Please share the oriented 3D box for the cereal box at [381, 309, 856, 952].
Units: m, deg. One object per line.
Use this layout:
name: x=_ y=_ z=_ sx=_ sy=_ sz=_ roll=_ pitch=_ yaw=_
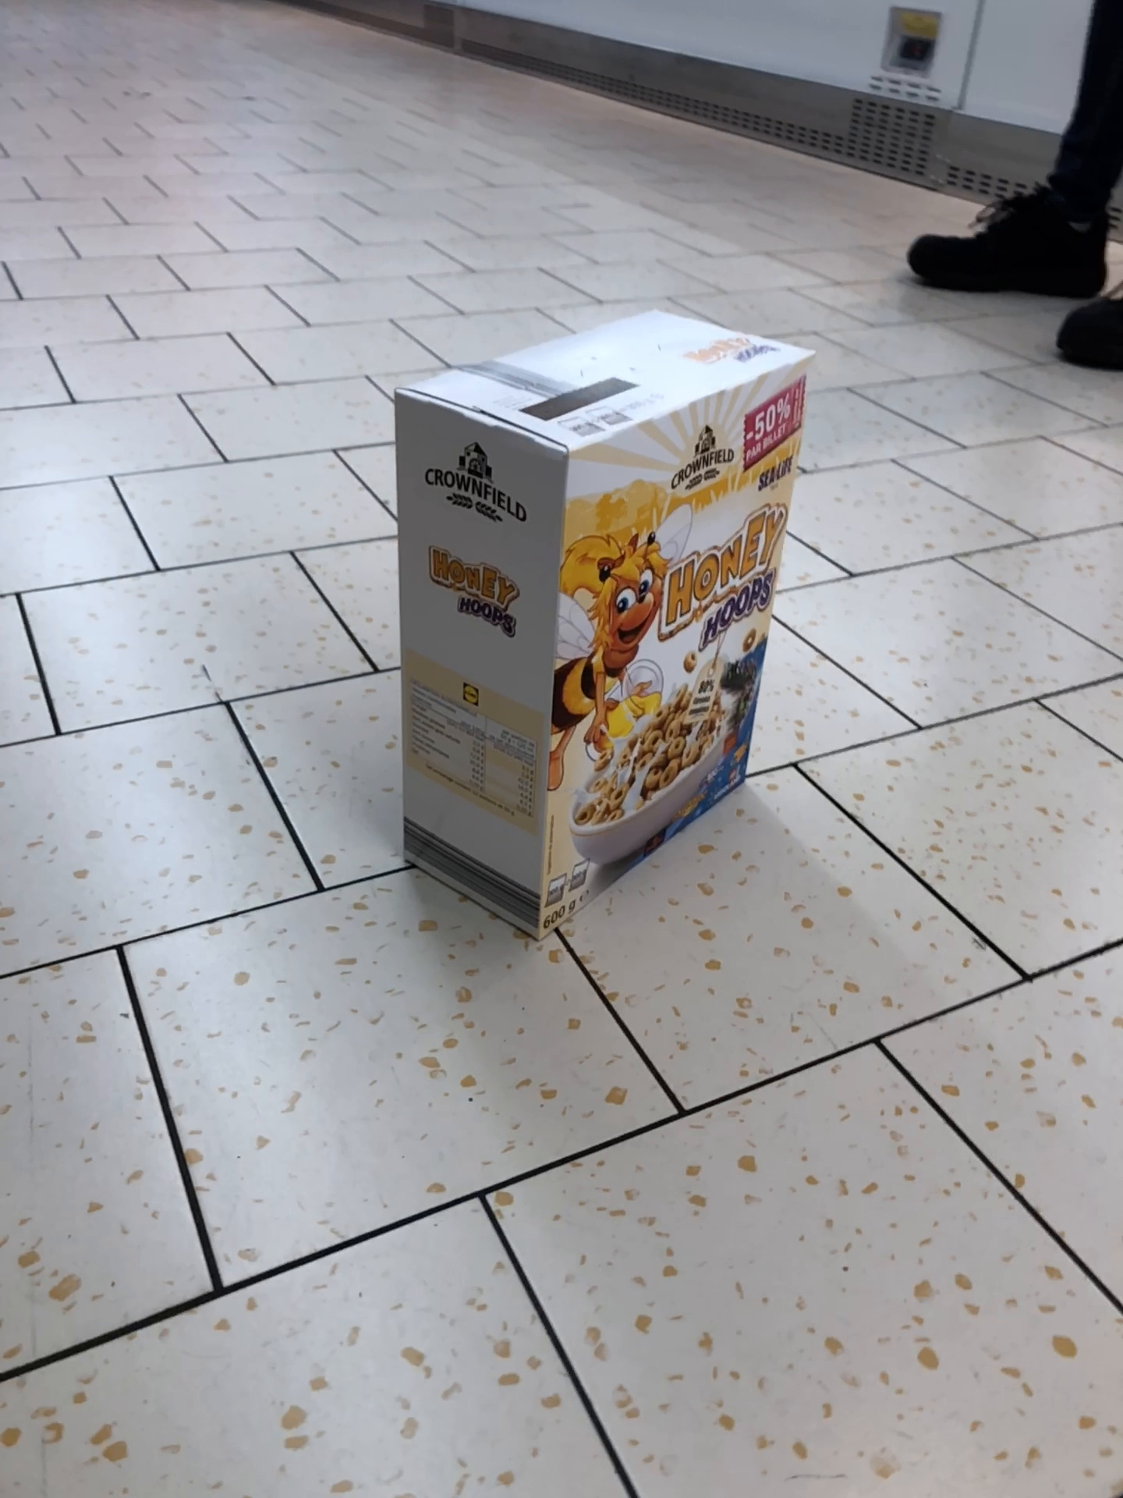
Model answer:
cereal box: x=0.028 y=-0.068 z=0.630 sx=0.110 sy=0.248 sz=0.211 roll=27 pitch=39 yaw=31
